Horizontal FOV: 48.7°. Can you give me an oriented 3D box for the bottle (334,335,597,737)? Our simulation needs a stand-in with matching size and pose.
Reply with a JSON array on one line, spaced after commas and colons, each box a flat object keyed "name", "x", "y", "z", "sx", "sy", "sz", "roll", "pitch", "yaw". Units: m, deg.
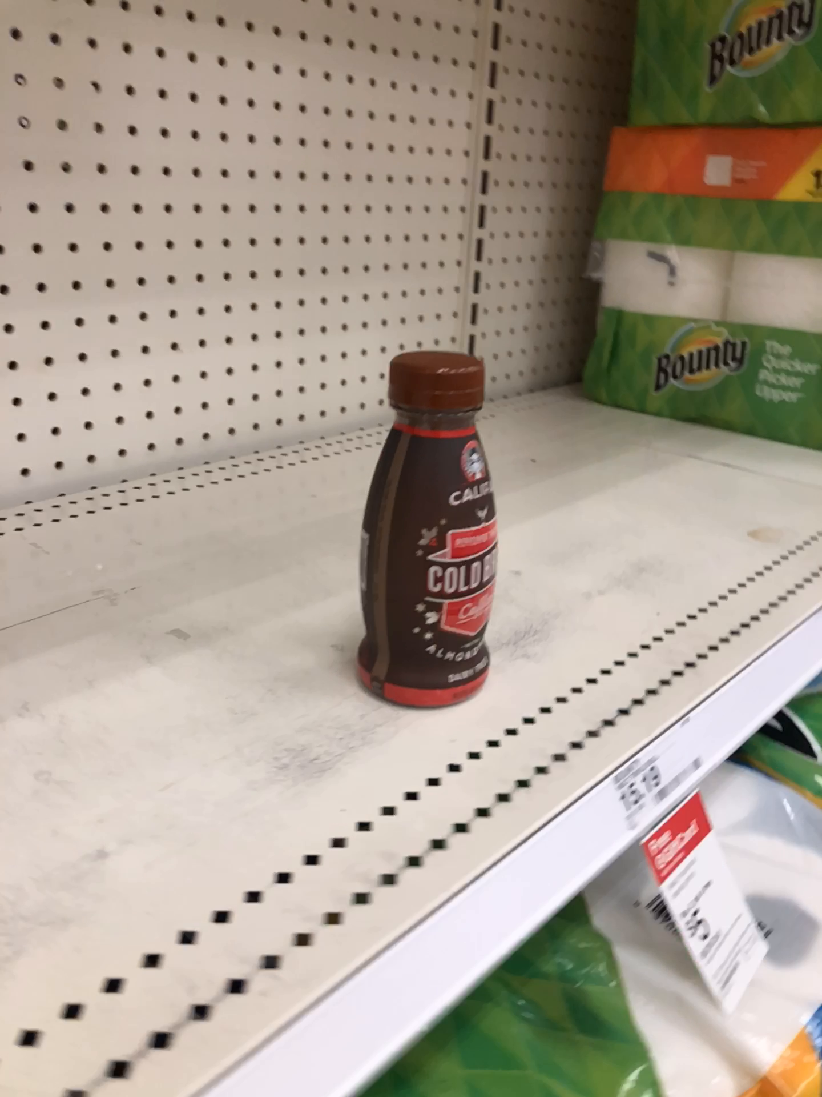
[{"name": "bottle", "x": 0.019, "y": -0.010, "z": 0.404, "sx": 0.070, "sy": 0.149, "sz": 0.080, "roll": -17, "pitch": 30, "yaw": -40}]
